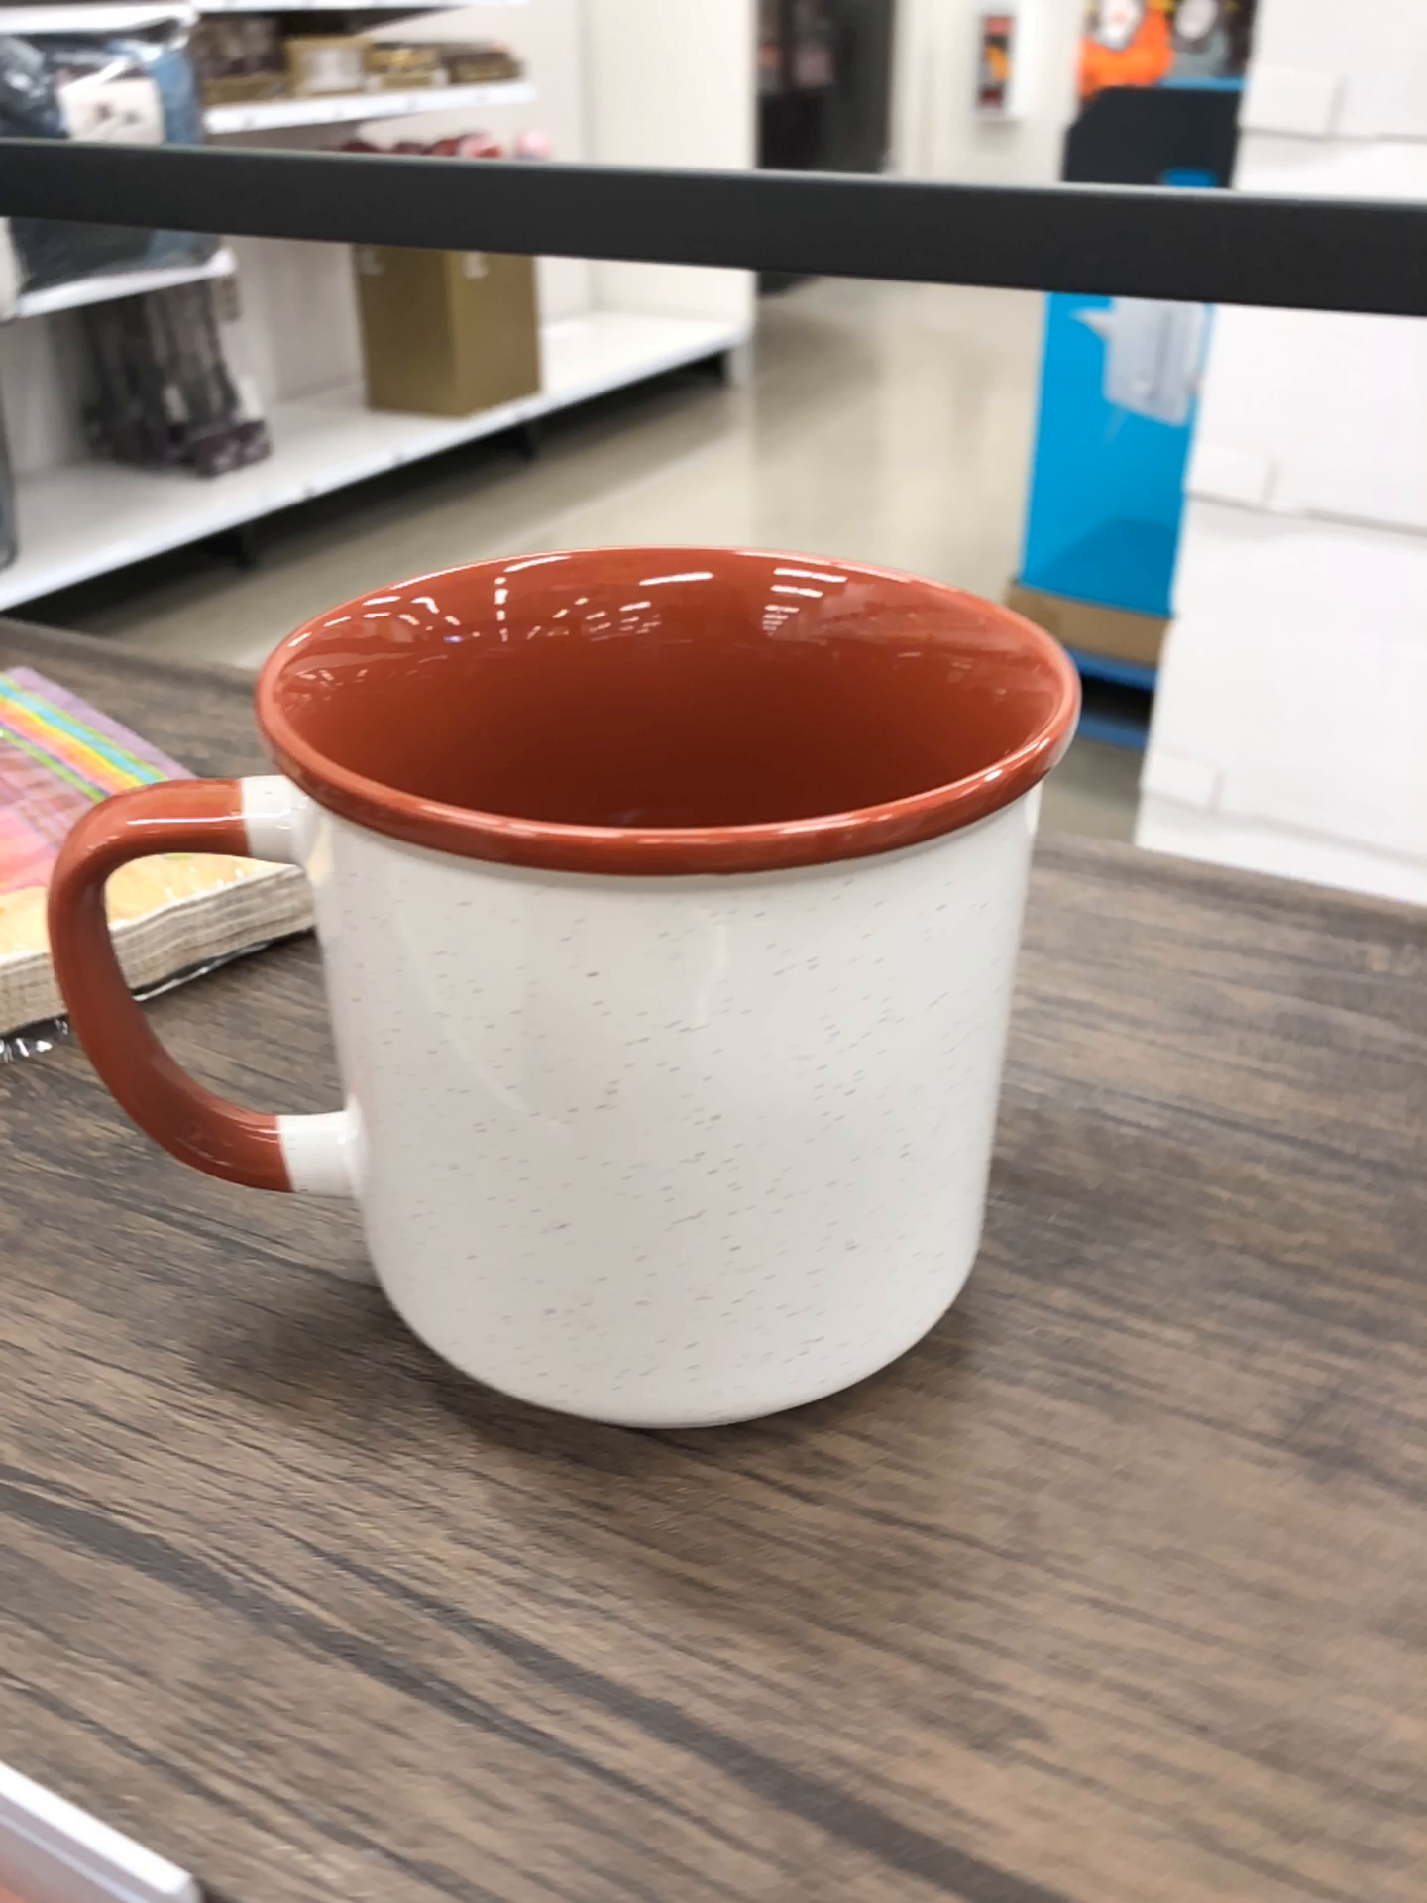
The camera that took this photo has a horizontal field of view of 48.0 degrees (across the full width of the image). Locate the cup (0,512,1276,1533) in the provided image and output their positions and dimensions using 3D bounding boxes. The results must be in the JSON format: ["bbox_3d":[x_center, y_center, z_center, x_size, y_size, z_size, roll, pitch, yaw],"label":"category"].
[{"bbox_3d":[-0.021,0.000,0.235,0.150,0.090,0.110,-5,31,-7],"label":"cup"}]
